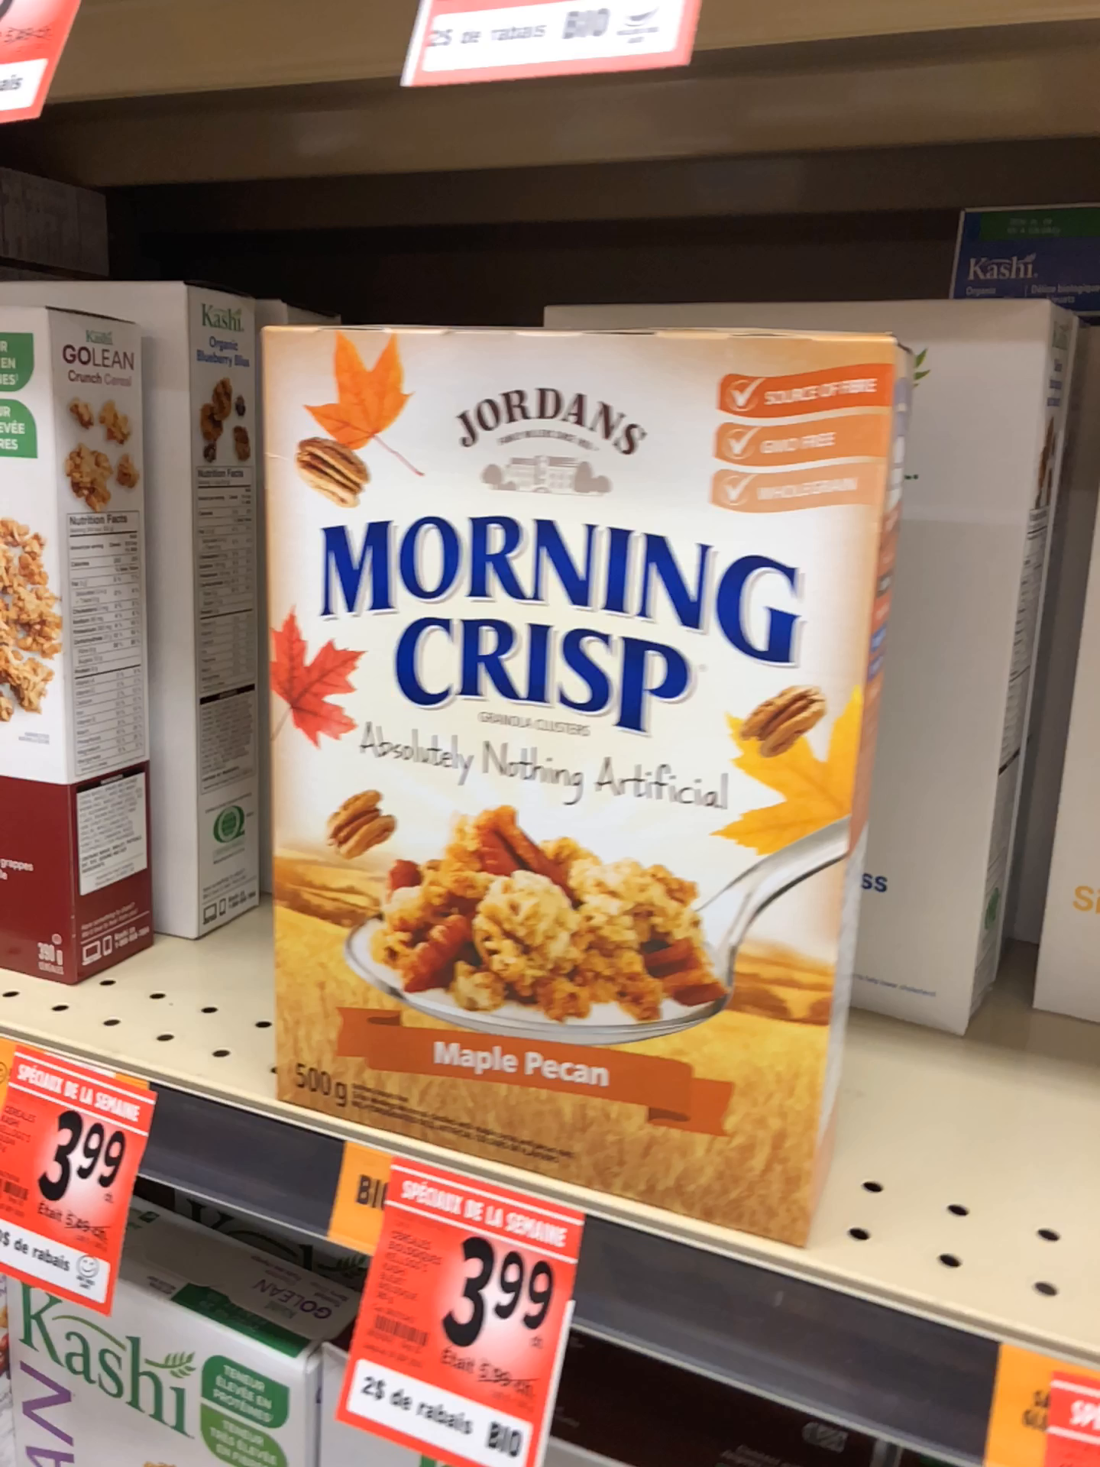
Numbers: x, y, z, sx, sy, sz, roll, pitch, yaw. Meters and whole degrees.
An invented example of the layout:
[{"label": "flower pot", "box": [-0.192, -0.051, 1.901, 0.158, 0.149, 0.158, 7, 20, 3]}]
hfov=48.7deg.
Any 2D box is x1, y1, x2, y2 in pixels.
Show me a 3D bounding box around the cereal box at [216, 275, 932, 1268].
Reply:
[{"label": "cereal box", "box": [-0.003, 0.004, 0.363, 0.190, 0.259, 0.050, 8, 15, 21]}]
